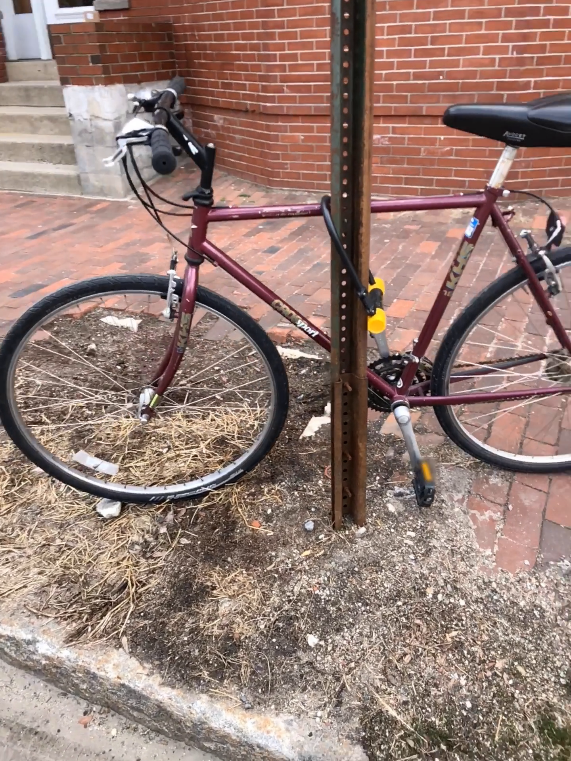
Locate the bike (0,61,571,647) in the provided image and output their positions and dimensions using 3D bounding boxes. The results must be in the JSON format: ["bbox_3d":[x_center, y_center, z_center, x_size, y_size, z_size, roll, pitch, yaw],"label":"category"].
[{"bbox_3d":[0.198,-0.095,1.371,1.726,1.011,0.672,-3,28,-1],"label":"bike"}]
